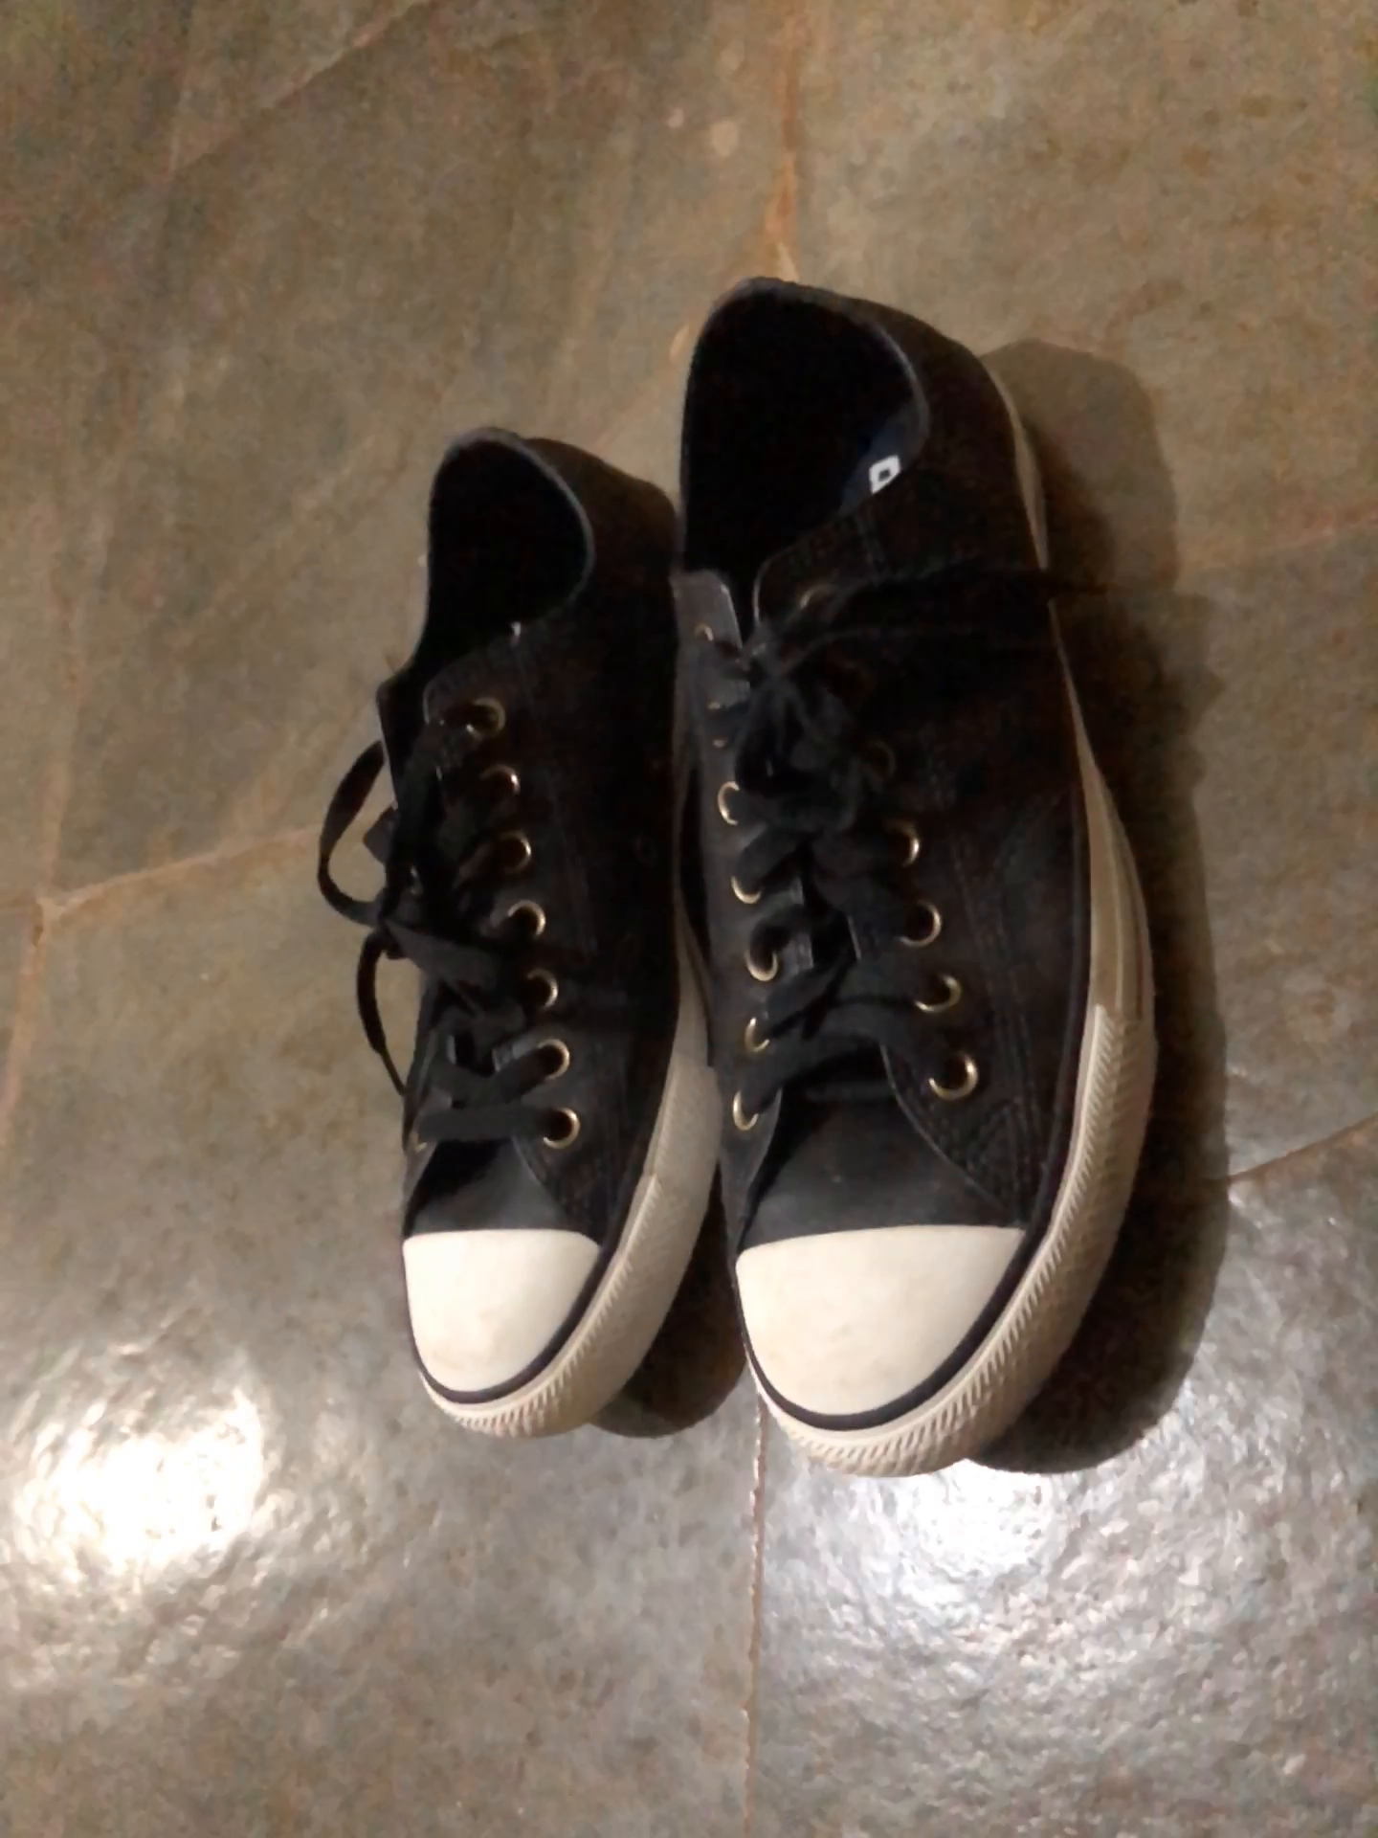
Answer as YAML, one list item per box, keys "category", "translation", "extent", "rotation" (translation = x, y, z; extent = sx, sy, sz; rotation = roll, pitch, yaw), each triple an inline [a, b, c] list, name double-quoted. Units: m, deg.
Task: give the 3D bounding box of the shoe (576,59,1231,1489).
- category: "shoe"
  translation: [0.049, -0.032, 0.367]
  extent: [0.110, 0.080, 0.311]
  rotation: [-12, 67, 36]

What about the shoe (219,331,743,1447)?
- category: "shoe"
  translation: [-0.051, -0.005, 0.435]
  extent: [0.100, 0.080, 0.291]
  rotation: [-12, 67, 36]
